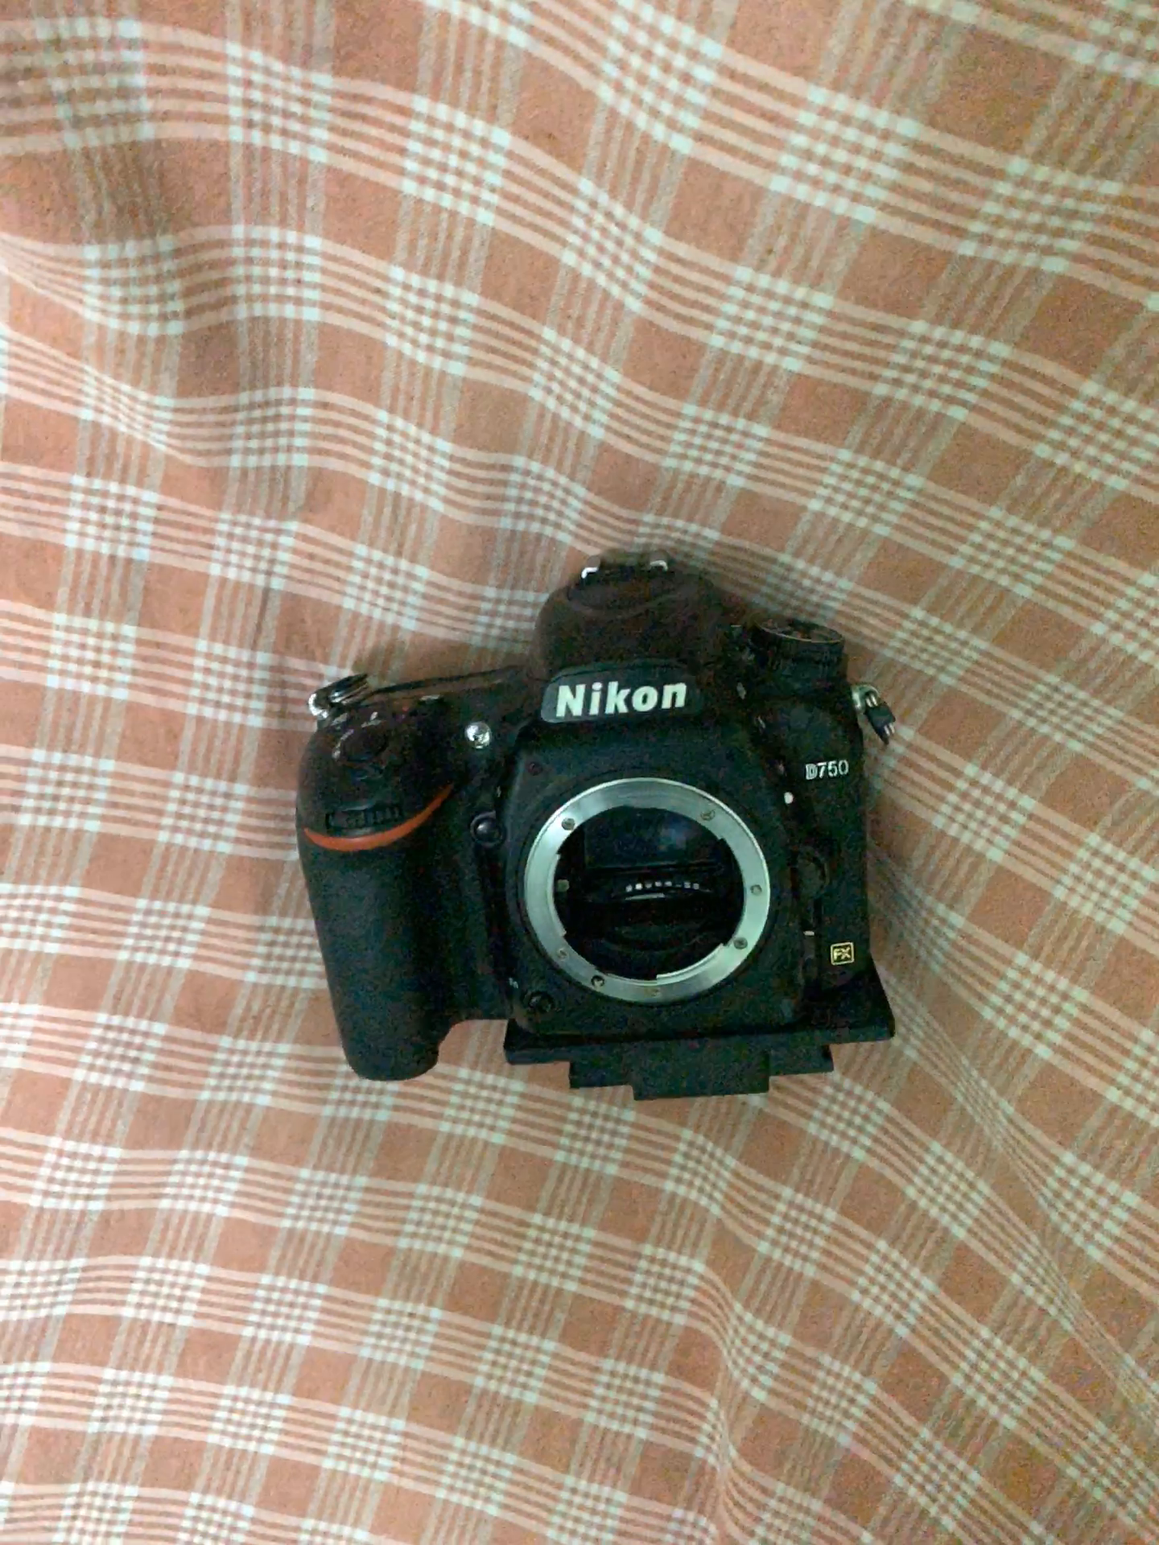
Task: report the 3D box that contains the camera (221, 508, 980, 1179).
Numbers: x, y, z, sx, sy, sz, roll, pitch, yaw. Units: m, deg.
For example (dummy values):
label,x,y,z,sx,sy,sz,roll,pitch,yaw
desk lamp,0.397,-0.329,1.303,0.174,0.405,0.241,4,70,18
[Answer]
label,x,y,z,sx,sy,sz,roll,pitch,yaw
camera,0.011,0.014,0.290,0.145,0.085,0.125,-6,110,5
